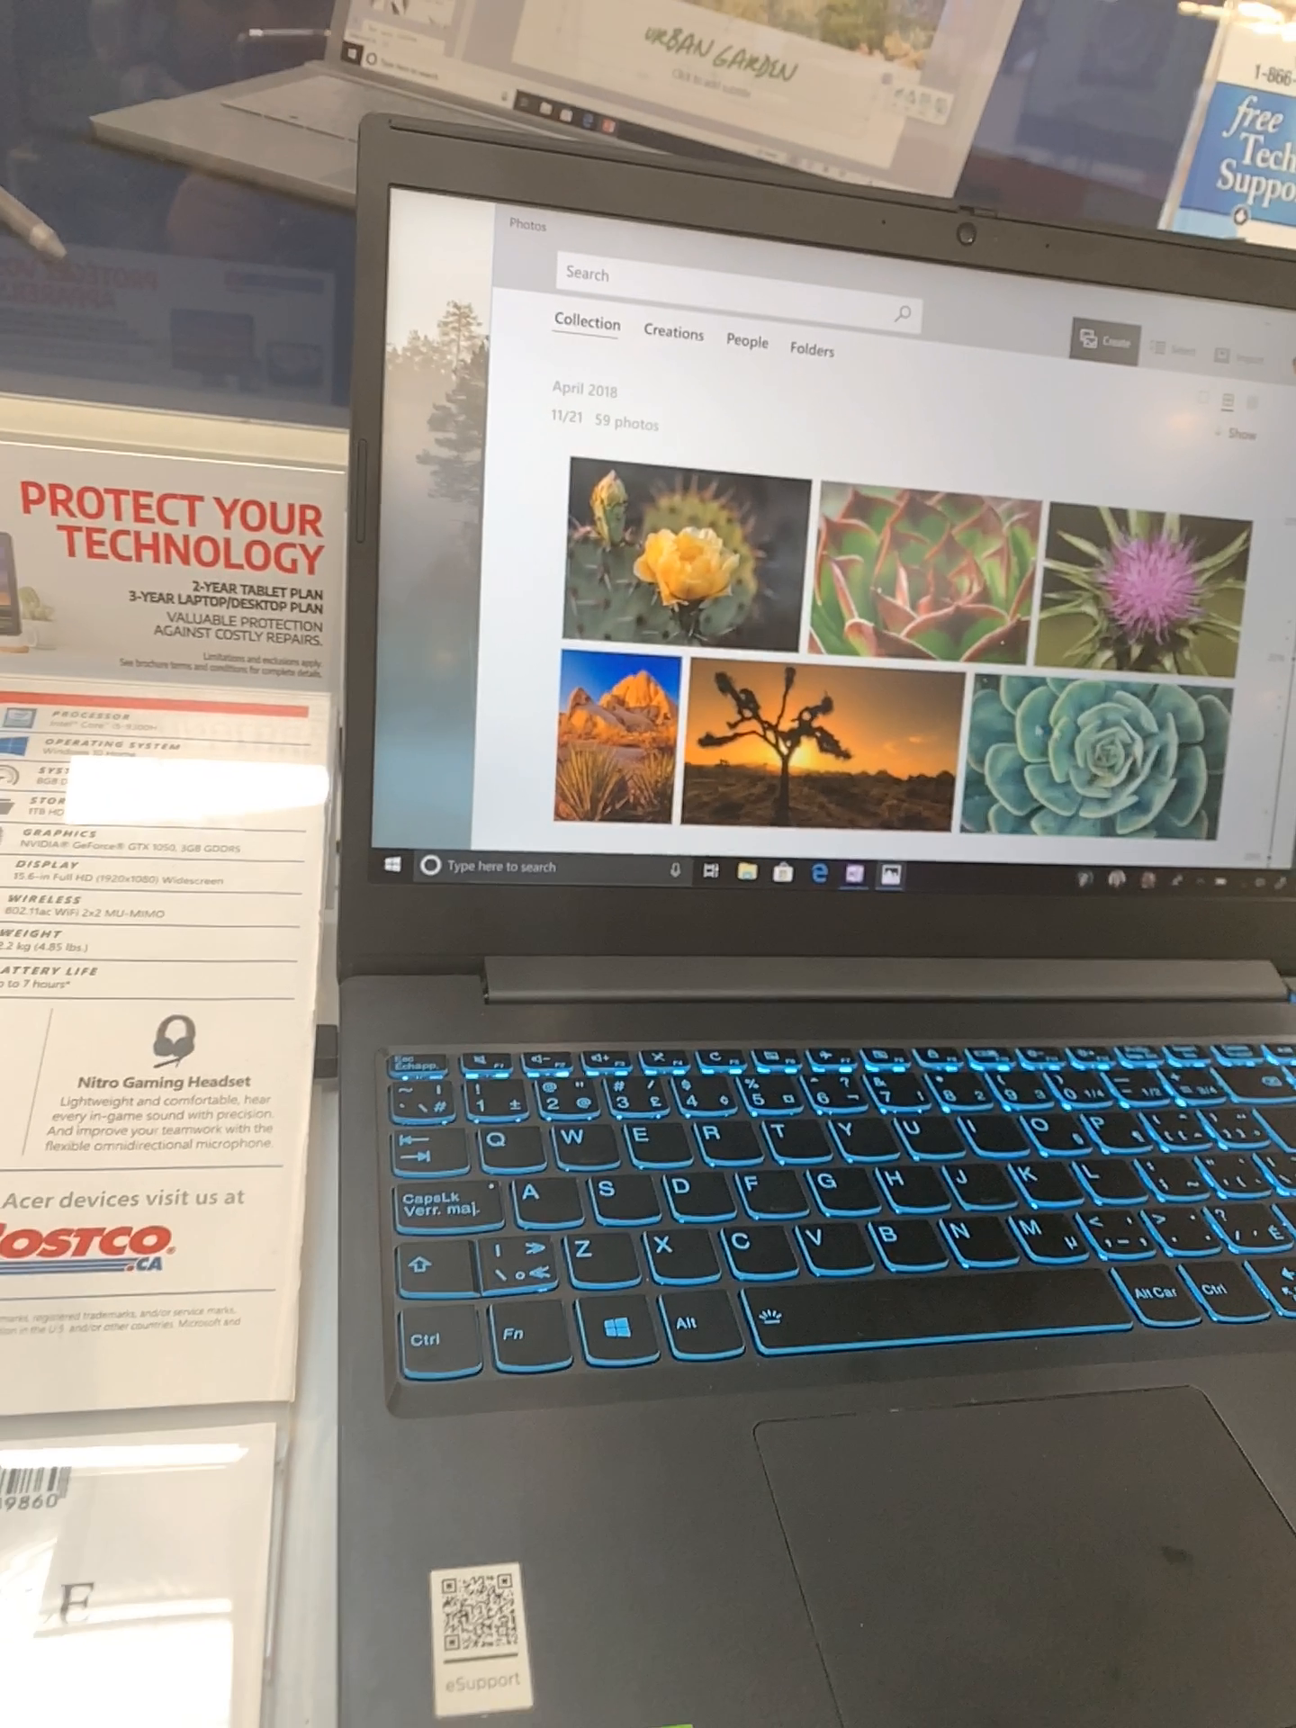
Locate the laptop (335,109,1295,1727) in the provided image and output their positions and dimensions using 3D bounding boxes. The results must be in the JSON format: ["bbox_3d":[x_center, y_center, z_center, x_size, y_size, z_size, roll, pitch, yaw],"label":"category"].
[{"bbox_3d":[0.107,-0.019,0.313,0.340,0.214,0.330,2,30,-15],"label":"laptop"}]
